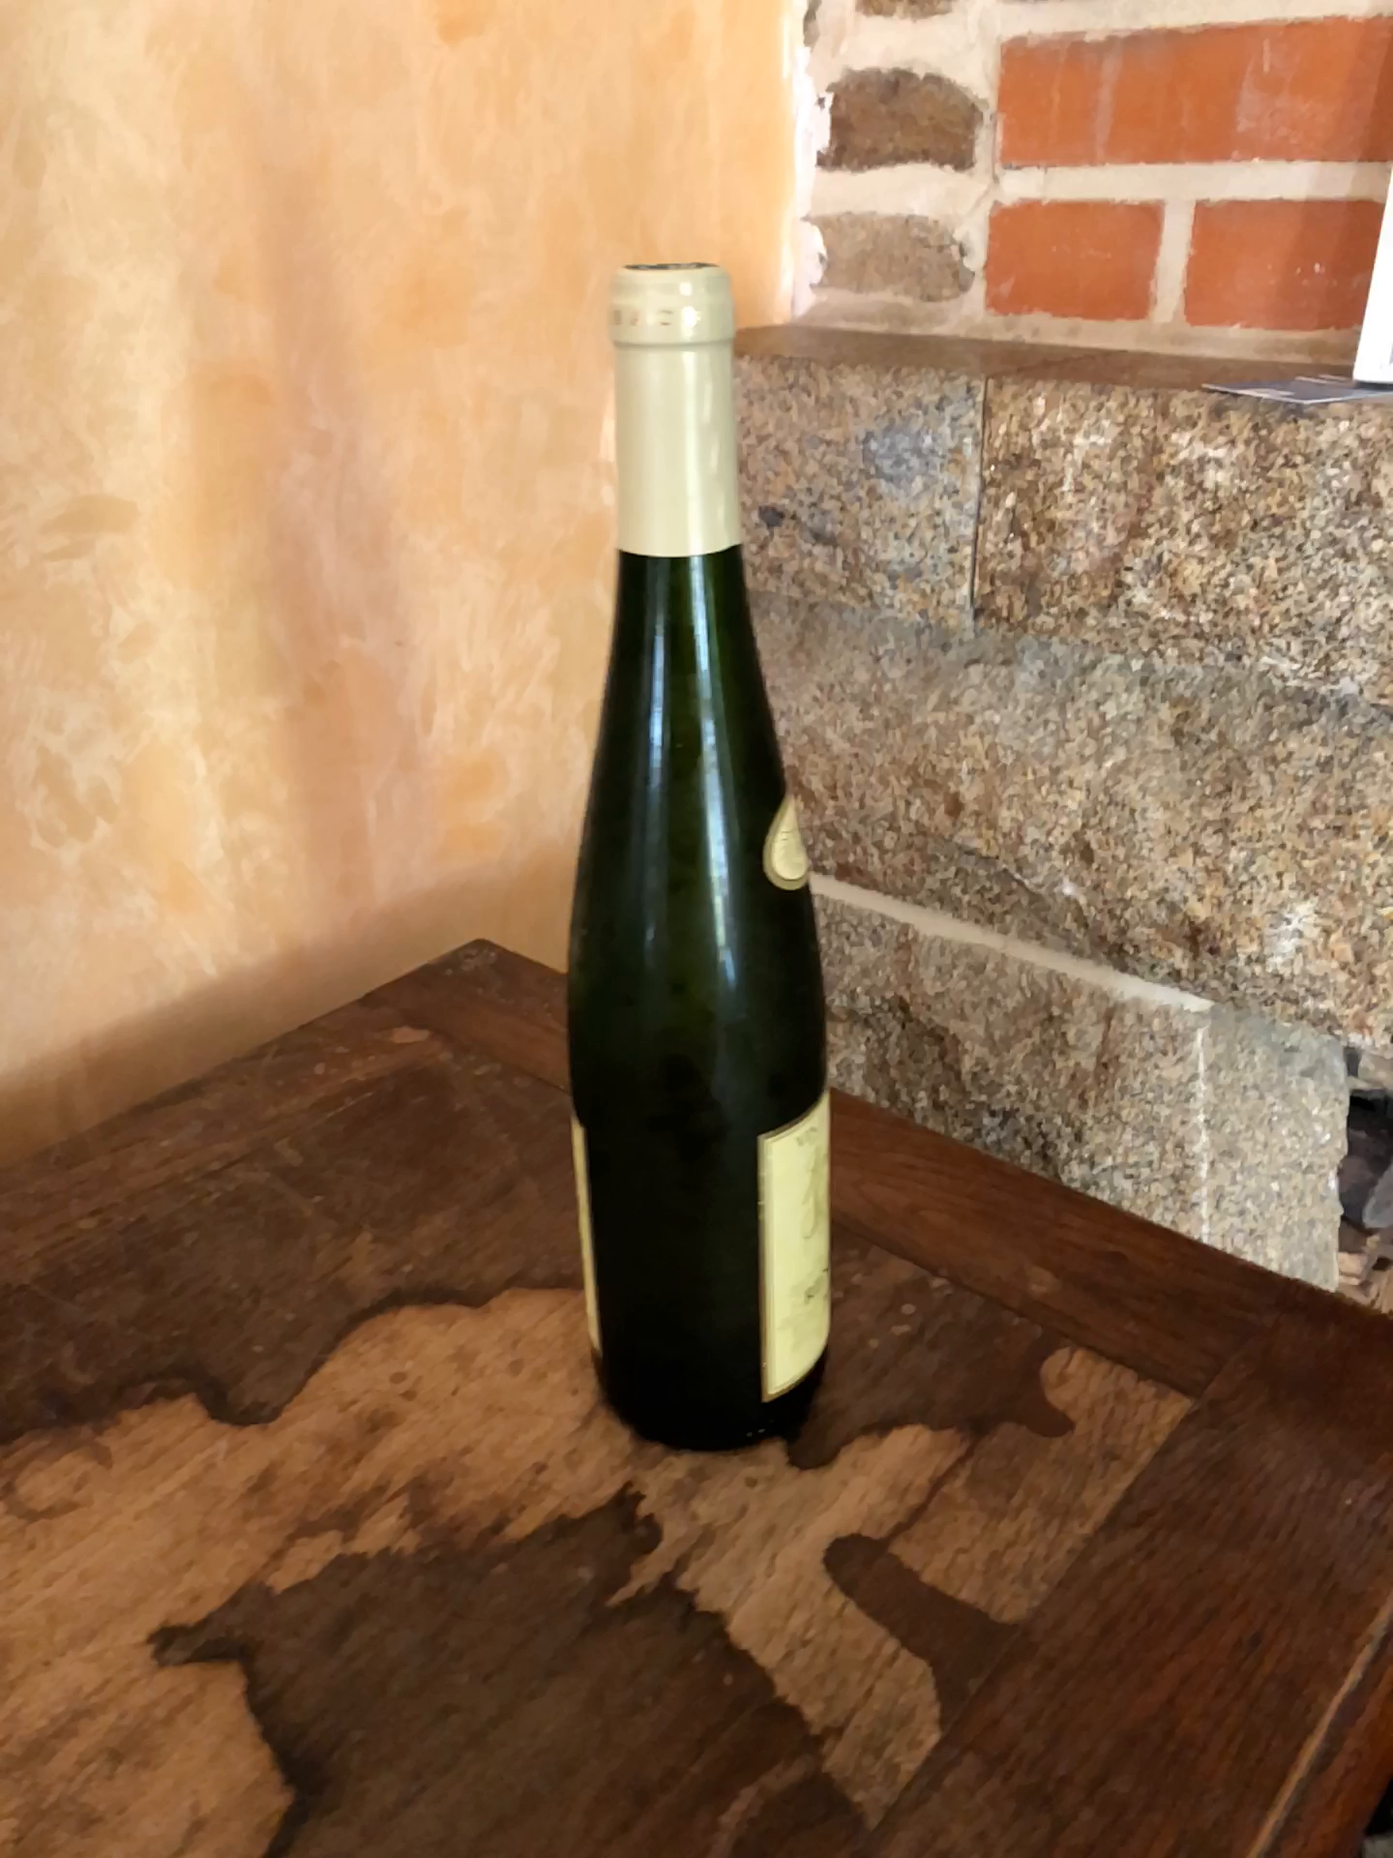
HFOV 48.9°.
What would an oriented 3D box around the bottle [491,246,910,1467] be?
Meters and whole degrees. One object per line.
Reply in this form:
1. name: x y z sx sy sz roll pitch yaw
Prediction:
1. bottle: 0.005 -0.010 0.416 0.080 0.318 0.081 0 25 0
